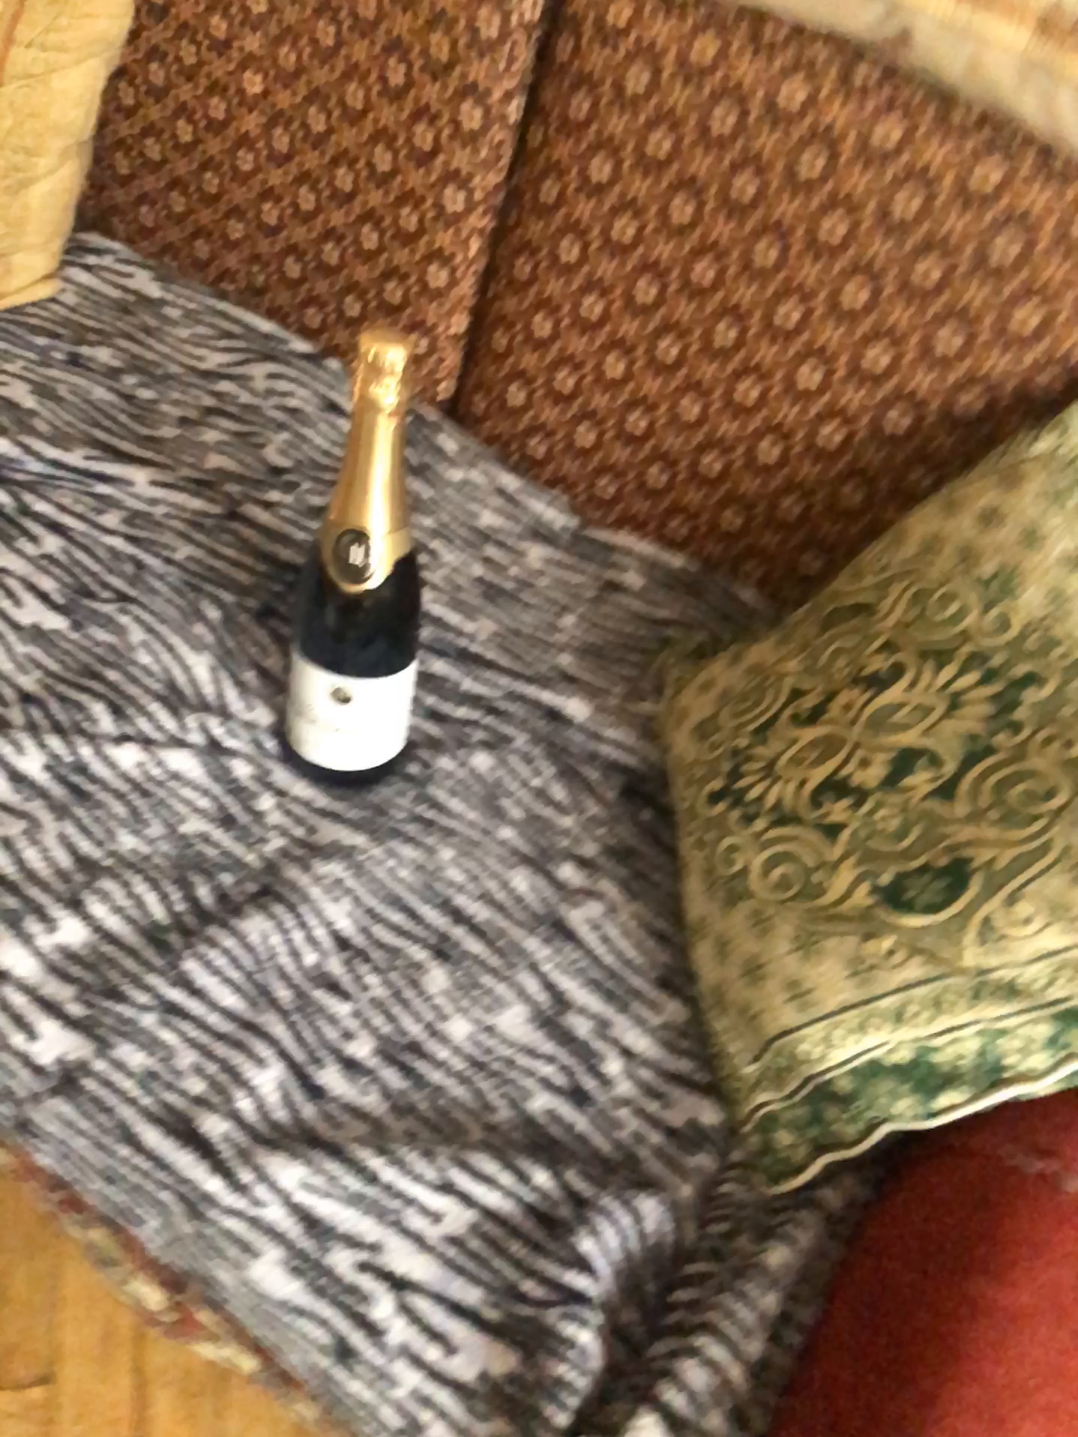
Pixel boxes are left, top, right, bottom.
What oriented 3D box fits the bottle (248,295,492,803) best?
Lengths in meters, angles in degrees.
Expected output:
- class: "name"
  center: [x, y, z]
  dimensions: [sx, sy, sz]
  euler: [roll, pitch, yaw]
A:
- class: "bottle"
  center: [-0.107, -0.093, 0.725]
  dimensions: [0.100, 0.279, 0.101]
  euler: [7, 41, -6]
